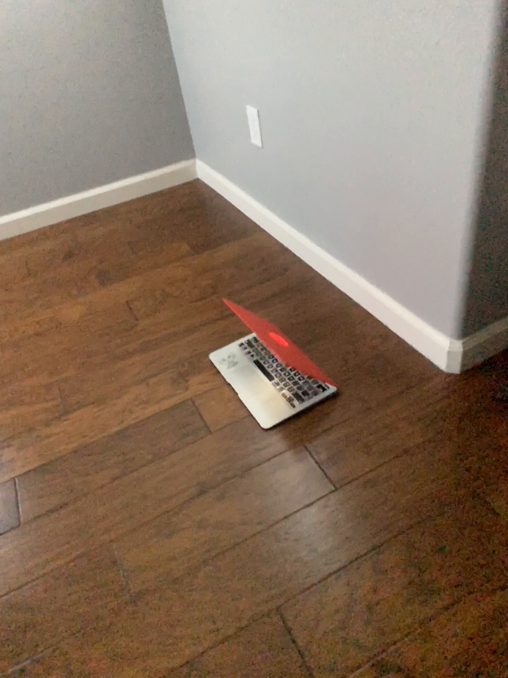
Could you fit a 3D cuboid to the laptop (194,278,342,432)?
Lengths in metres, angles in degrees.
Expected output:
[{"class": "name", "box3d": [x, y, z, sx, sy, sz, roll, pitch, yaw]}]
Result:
[{"class": "laptop", "box3d": [0.026, 0.021, 1.162, 0.198, 0.139, 0.303, -25, 41, -16]}]
